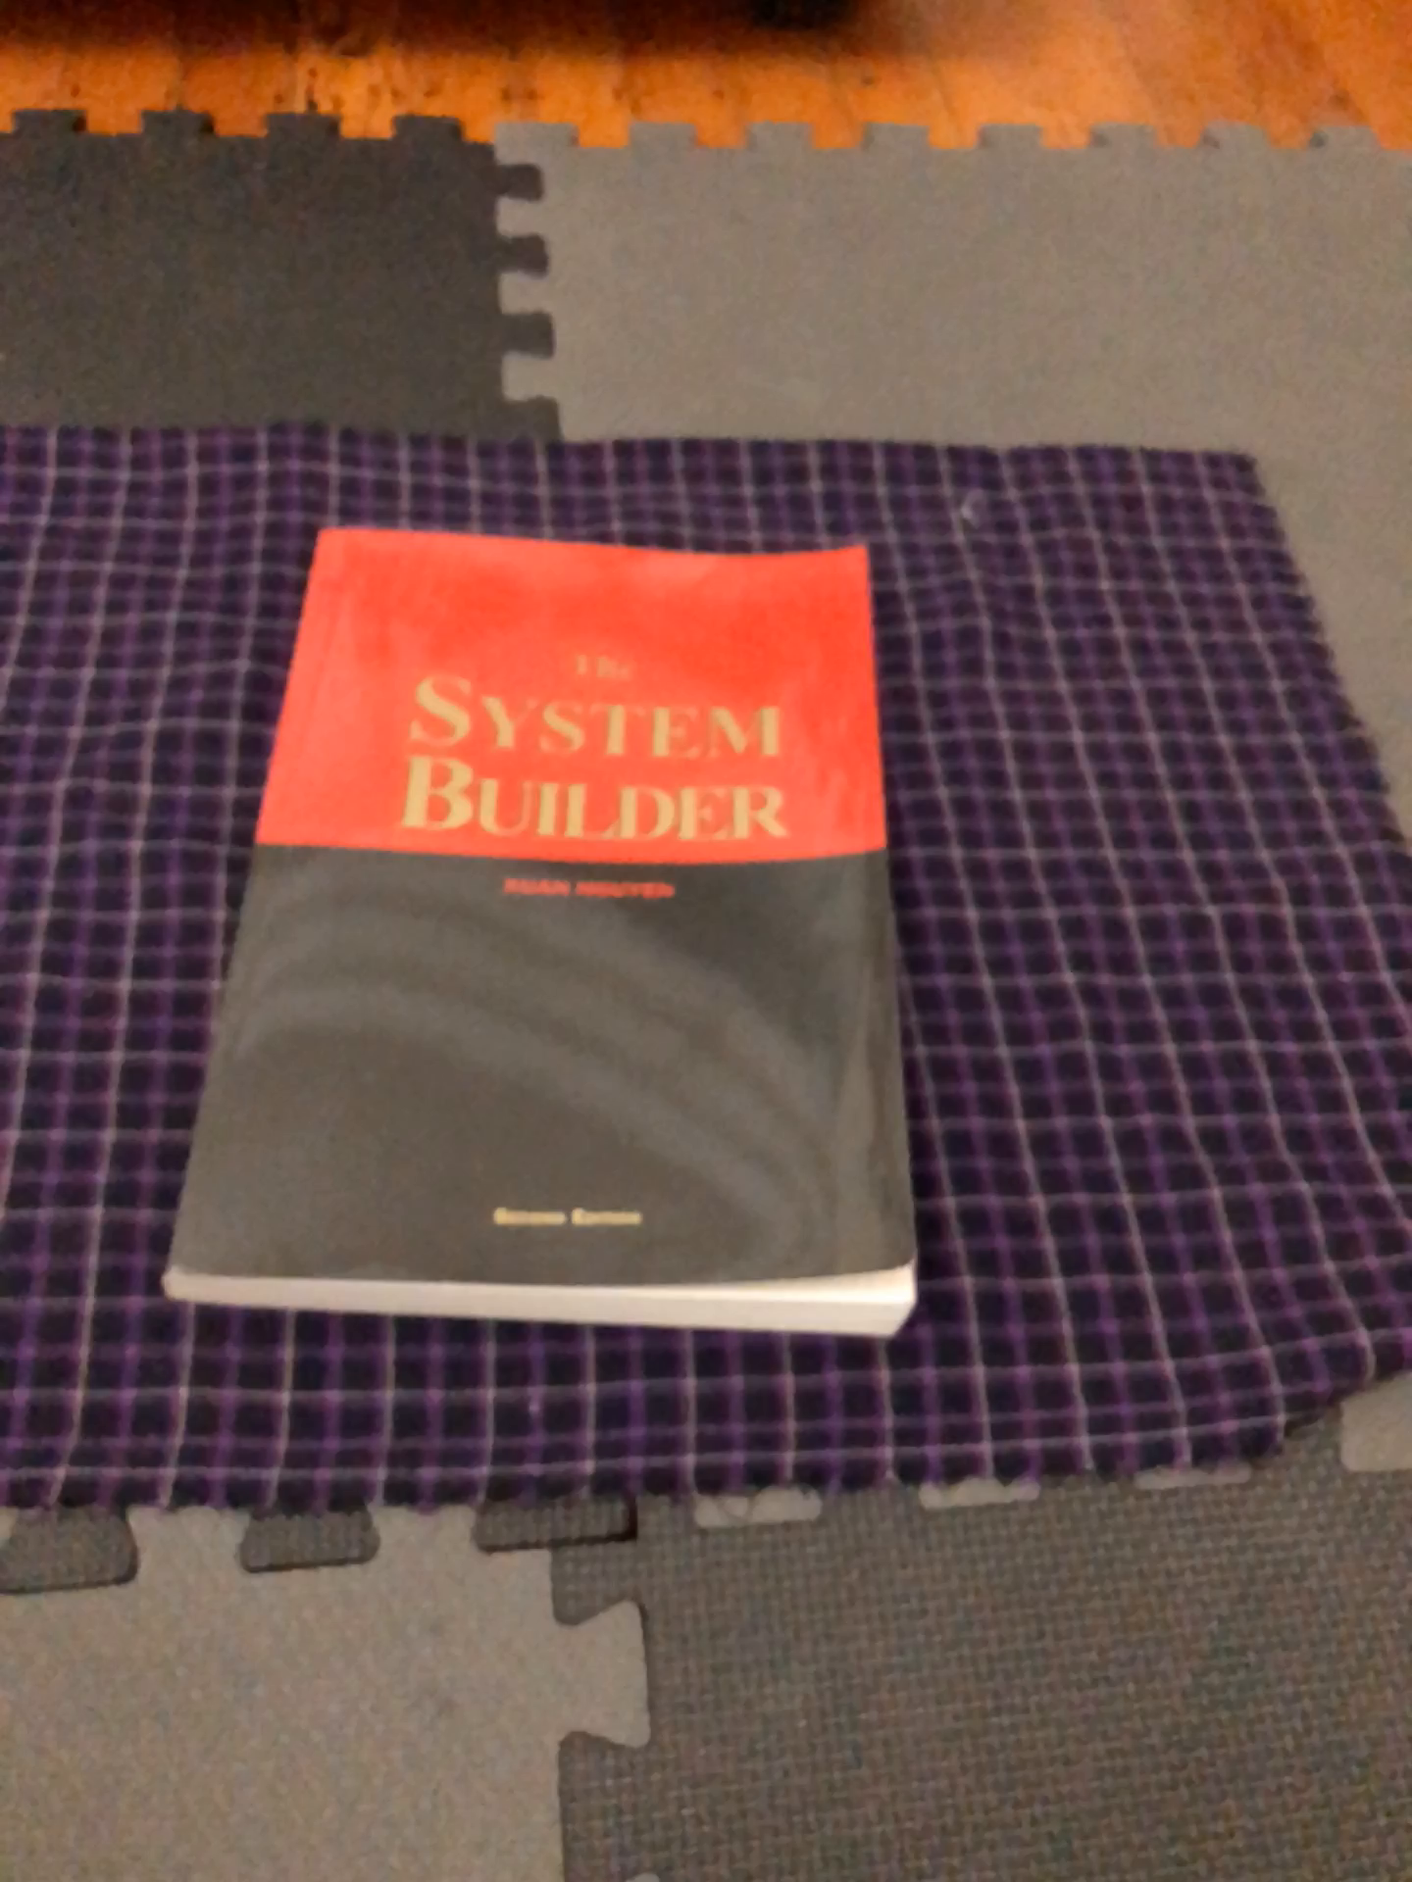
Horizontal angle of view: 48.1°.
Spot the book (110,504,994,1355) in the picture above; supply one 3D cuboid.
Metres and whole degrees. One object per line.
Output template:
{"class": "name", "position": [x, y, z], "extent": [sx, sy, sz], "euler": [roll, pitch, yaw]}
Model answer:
{"class": "book", "position": [-0.033, -0.019, 0.445], "extent": [0.200, 0.030, 0.261], "euler": [2, 55, -3]}
